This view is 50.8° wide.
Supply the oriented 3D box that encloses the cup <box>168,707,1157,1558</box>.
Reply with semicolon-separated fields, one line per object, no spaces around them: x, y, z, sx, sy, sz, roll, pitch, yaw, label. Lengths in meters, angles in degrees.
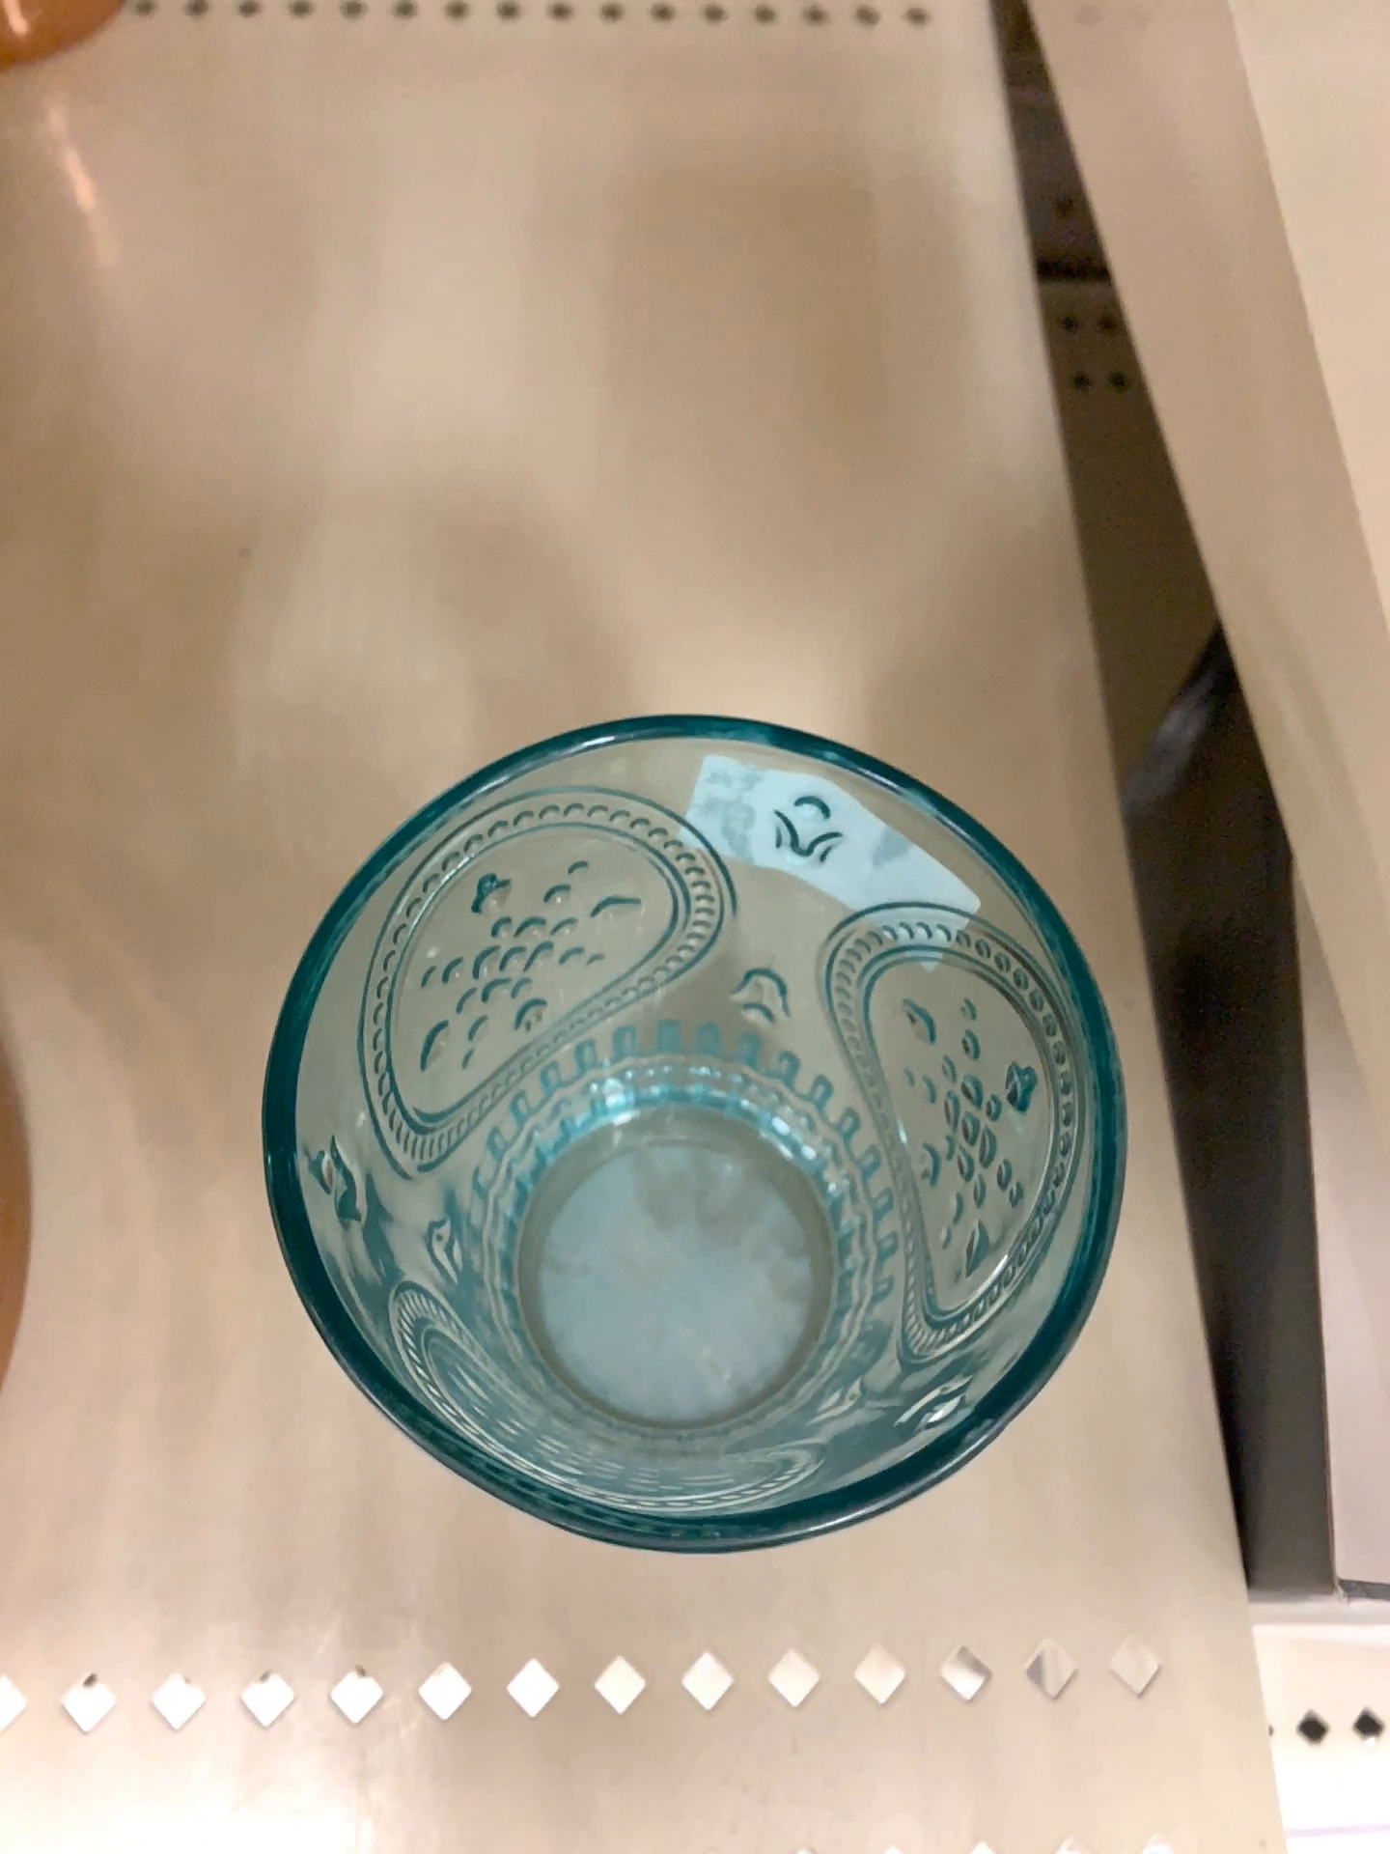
-0.003;0.031;0.172;0.078;0.091;0.076;1;68;-2;cup
